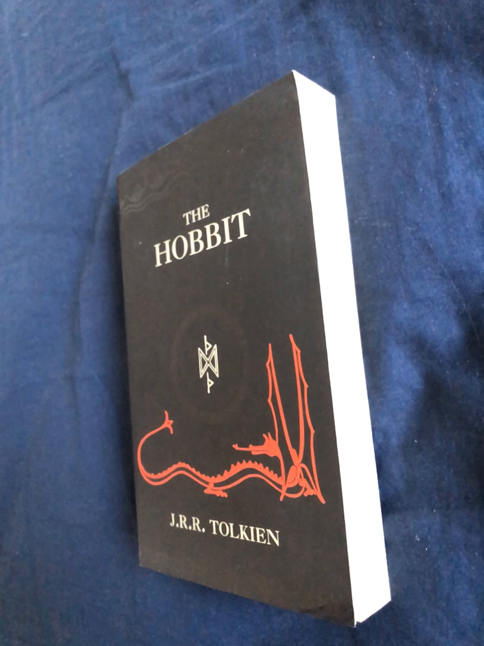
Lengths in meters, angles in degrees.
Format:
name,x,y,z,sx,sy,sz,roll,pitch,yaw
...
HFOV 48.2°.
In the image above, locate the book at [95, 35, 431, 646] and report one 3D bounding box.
name,x,y,z,sx,sy,sz,roll,pitch,yaw
book,-0.004,0.010,0.210,0.121,0.040,0.180,-11,80,42
